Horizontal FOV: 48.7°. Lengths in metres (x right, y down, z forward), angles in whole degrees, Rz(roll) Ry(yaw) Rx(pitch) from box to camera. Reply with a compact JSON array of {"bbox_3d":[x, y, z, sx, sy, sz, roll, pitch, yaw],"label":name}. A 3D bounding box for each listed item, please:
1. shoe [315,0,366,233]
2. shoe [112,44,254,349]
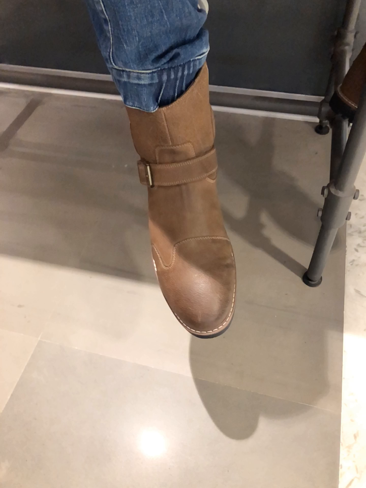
[{"bbox_3d":[0.379,-0.211,0.552,0.114,0.206,0.325,-27,61,-29],"label":"shoe"},{"bbox_3d":[-0.001,-0.054,0.473,0.108,0.206,0.275,-9,54,2],"label":"shoe"}]
